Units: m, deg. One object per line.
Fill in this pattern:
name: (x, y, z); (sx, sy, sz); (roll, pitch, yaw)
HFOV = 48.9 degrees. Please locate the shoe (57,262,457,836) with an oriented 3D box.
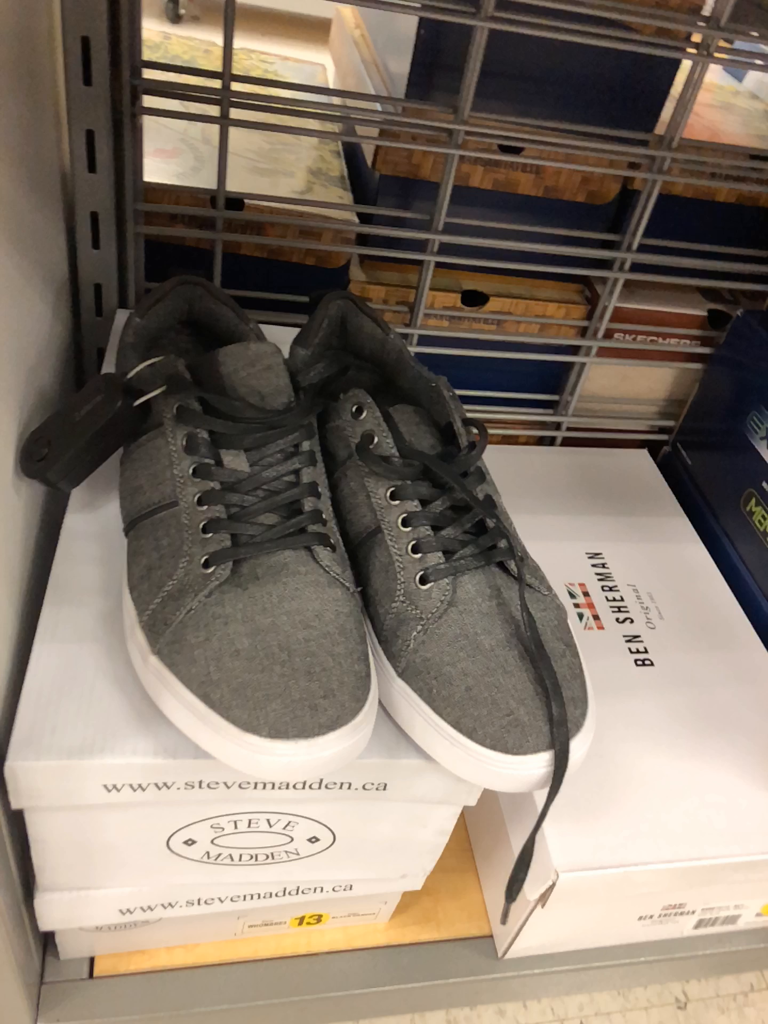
shoe: (-0.079, -0.007, 0.397); (0.107, 0.099, 0.262); (-7, 46, -22)

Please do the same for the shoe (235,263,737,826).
shoe: (0.022, -0.008, 0.417); (0.107, 0.099, 0.272); (-10, 47, -25)
